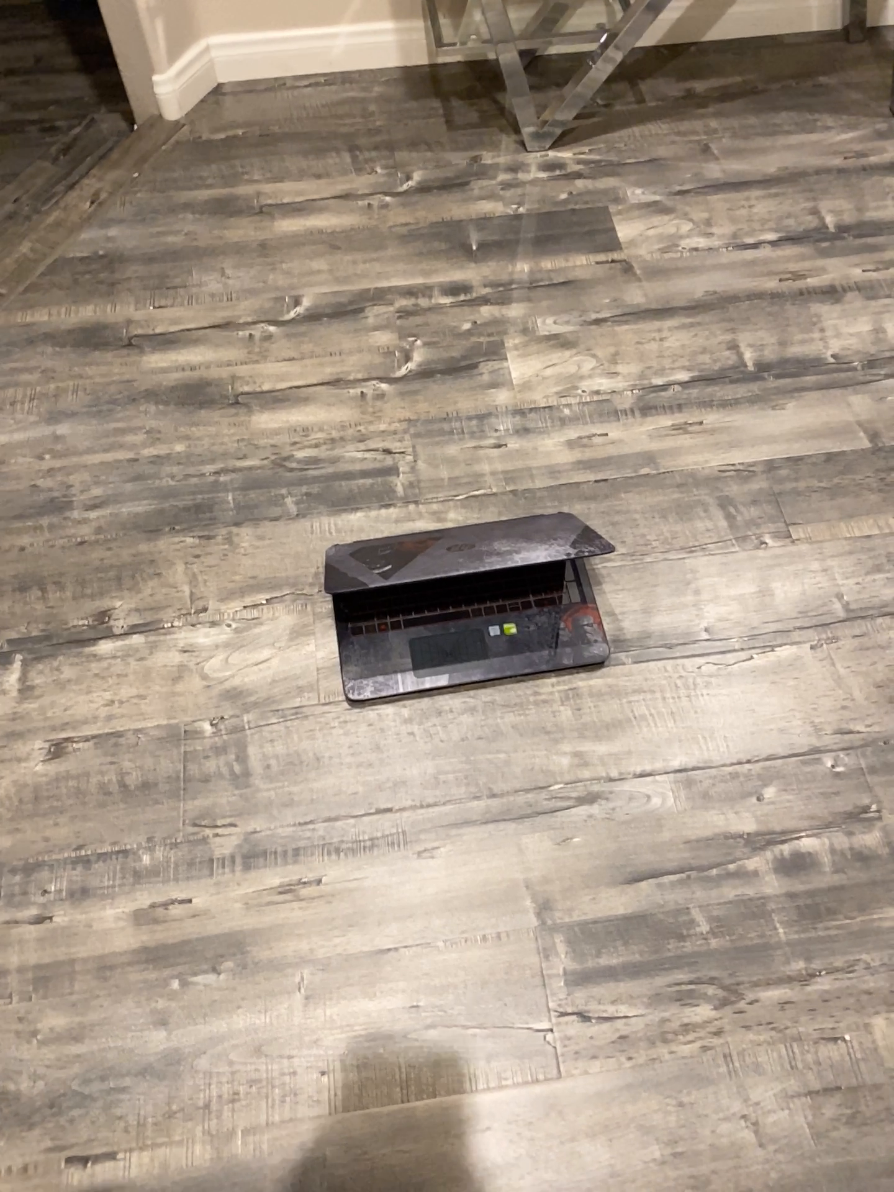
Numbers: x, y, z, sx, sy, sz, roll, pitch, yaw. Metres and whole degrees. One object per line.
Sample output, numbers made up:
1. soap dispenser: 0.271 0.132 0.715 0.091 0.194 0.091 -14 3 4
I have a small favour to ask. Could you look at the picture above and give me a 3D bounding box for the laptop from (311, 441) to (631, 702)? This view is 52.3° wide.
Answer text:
1. laptop: 0.023 -0.034 1.250 0.374 0.177 0.251 -9 59 -5
